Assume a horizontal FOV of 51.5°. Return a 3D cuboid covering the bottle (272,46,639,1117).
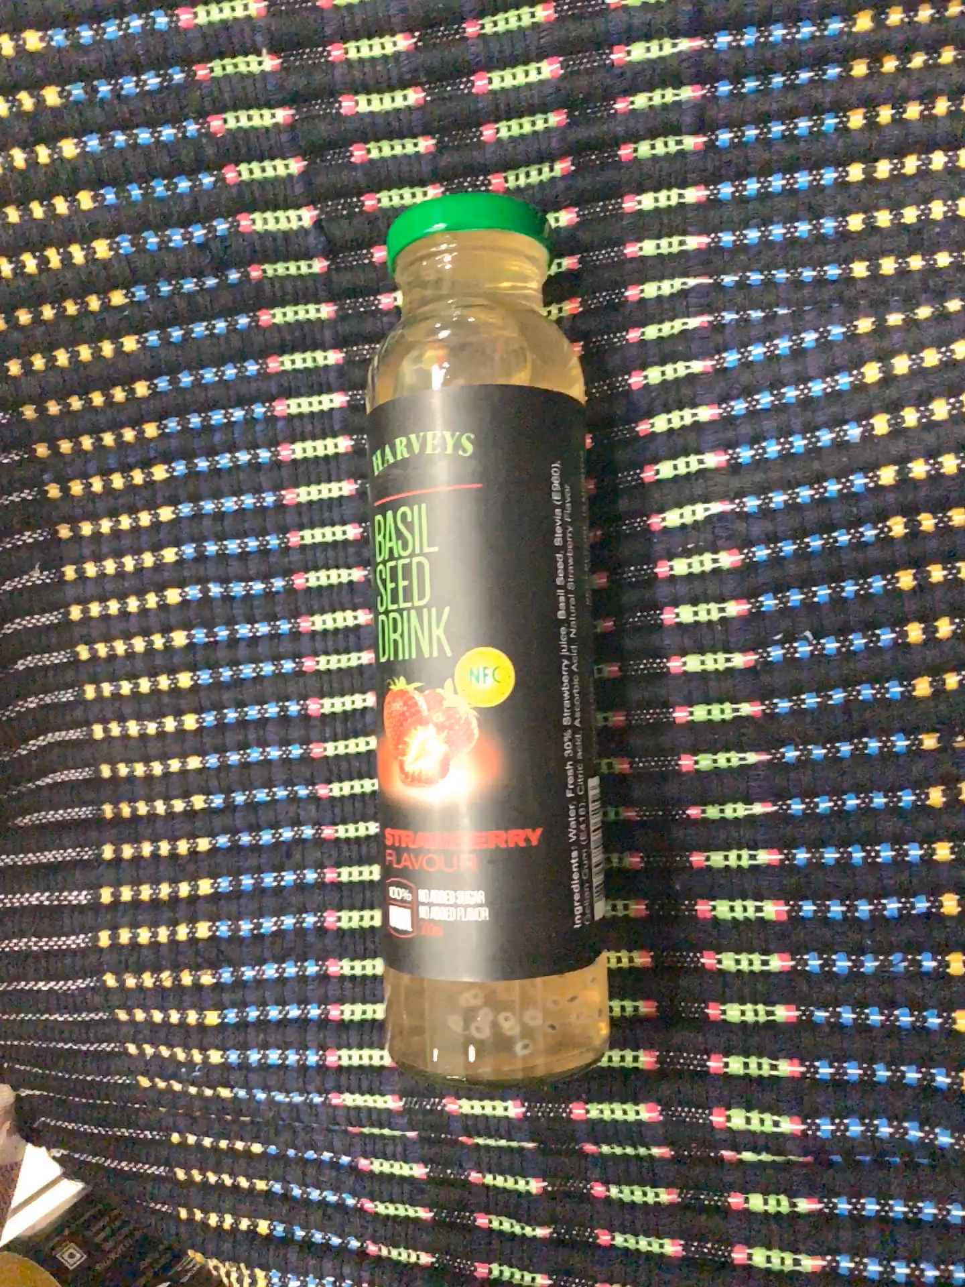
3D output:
[{"bbox_3d":[-0.010,-0.014,0.245,0.060,0.060,0.220,-9,81,52],"label":"bottle"}]
